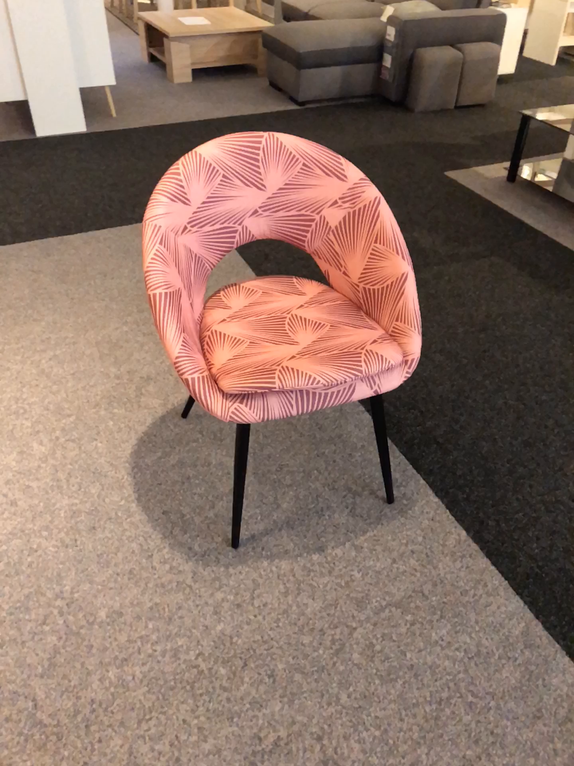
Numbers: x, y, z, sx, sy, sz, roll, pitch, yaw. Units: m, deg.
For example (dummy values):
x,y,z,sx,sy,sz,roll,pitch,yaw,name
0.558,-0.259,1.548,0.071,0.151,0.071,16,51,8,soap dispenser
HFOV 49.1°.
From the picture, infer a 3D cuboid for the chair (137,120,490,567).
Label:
x,y,z,sx,sy,sz,roll,pitch,yaw,name
0.006,-0.113,1.518,0.531,0.795,0.602,-12,40,-16,chair
